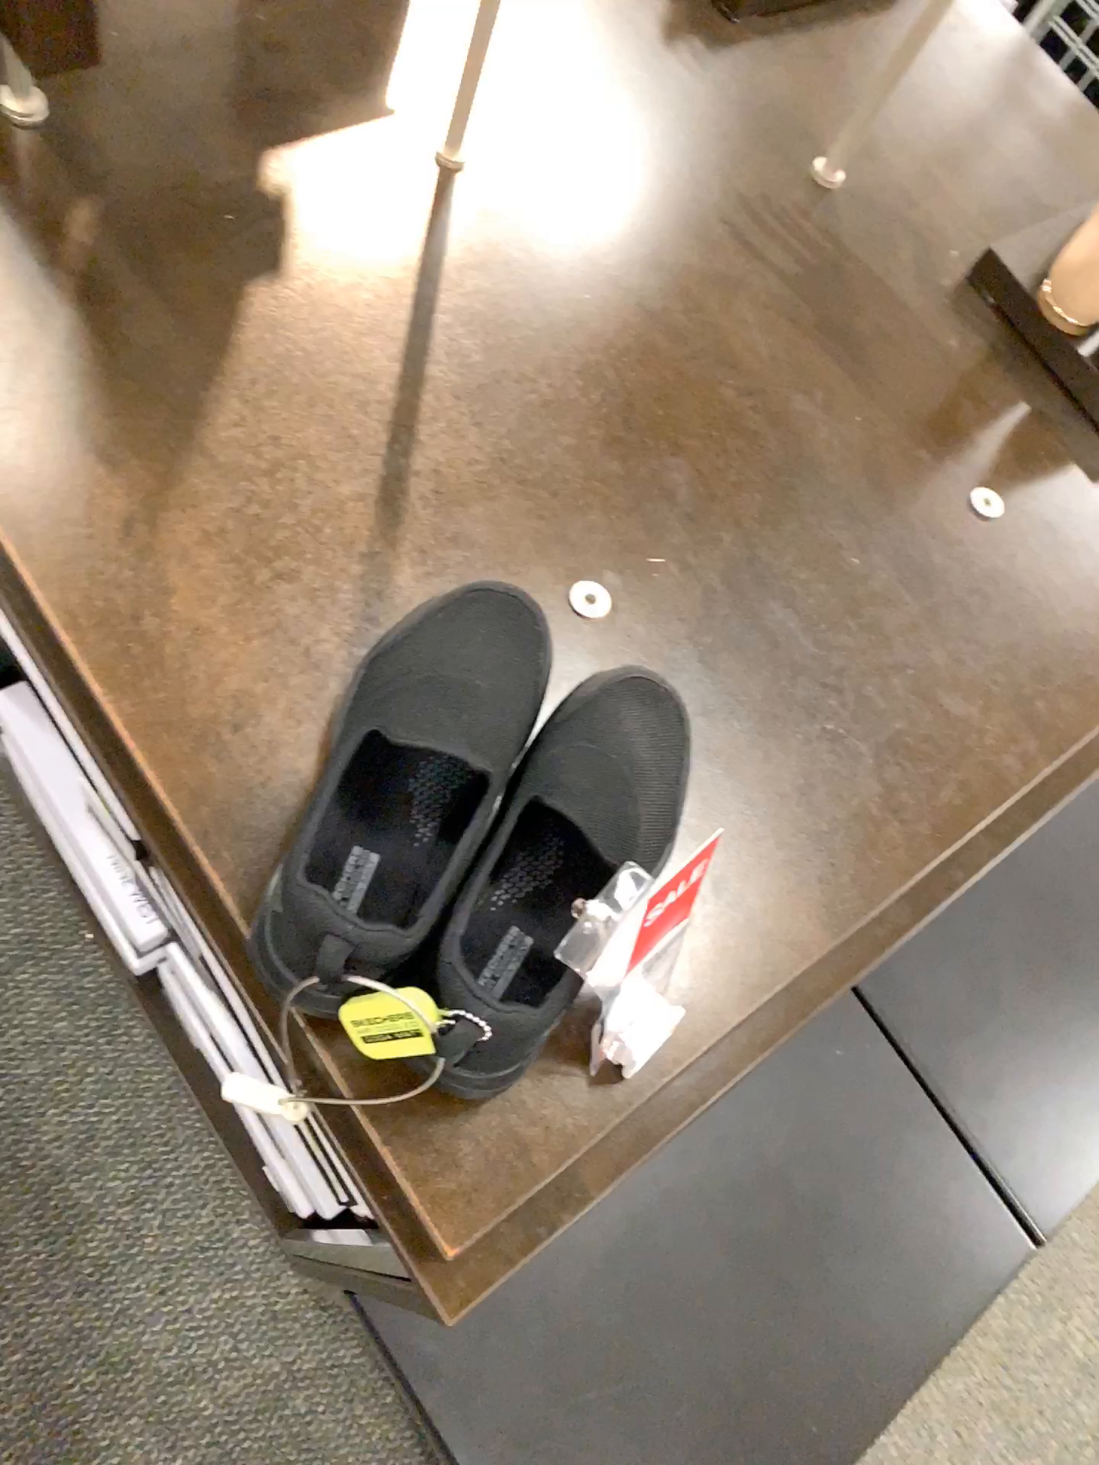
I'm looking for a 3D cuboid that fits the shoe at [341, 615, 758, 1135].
[{"bbox_3d":[0.002,0.072,0.576,0.094,0.110,0.231,32,61,-3],"label":"shoe"}]

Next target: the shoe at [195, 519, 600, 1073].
[{"bbox_3d":[-0.074,0.031,0.571,0.094,0.110,0.245,27,61,-6],"label":"shoe"}]
